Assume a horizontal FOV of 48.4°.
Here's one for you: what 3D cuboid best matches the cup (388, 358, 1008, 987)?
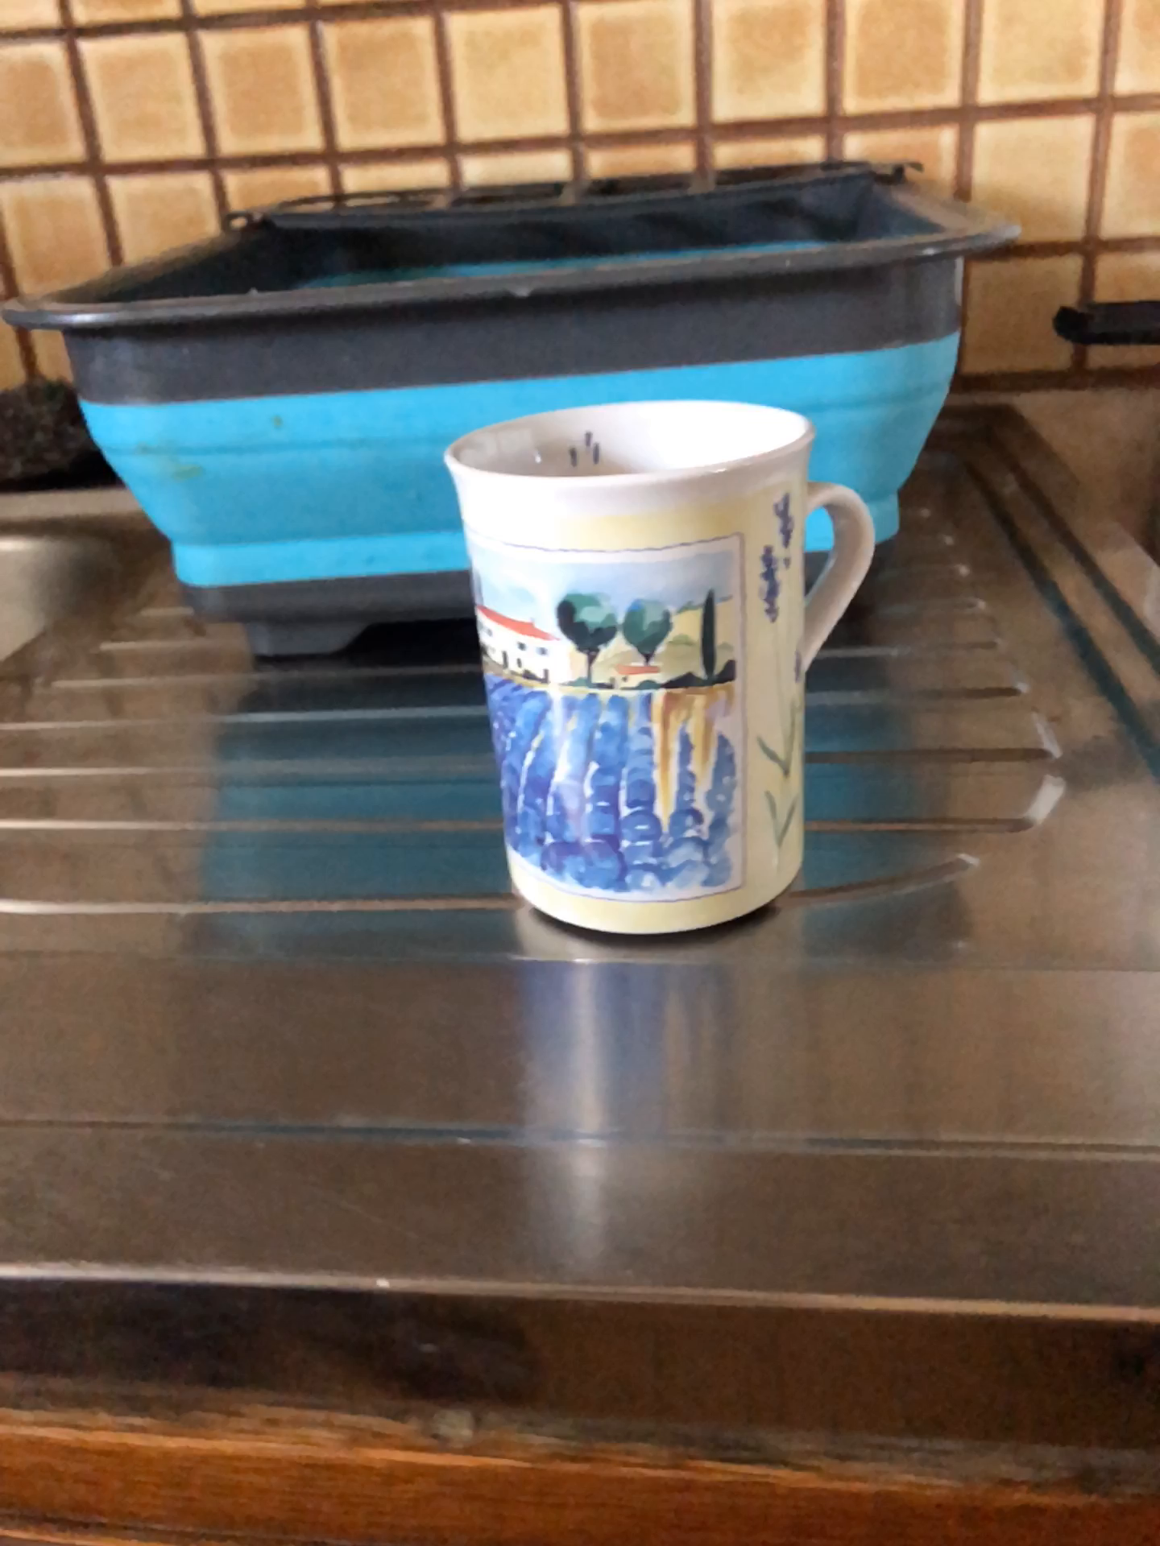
[{"bbox_3d":[0.028,-0.030,0.291,0.110,0.099,0.070,-22,32,-31],"label":"cup"}]
